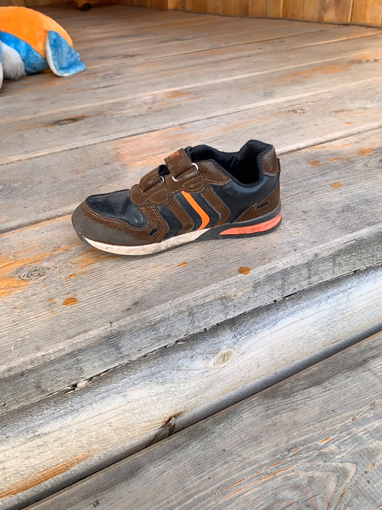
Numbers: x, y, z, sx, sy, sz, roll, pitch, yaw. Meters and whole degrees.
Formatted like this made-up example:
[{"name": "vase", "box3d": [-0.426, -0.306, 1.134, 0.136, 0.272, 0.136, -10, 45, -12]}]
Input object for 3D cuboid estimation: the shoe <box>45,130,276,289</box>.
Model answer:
[{"name": "shoe", "box3d": [-0.028, -0.049, 0.380, 0.190, 0.089, 0.091, -11, 36, -8]}]
